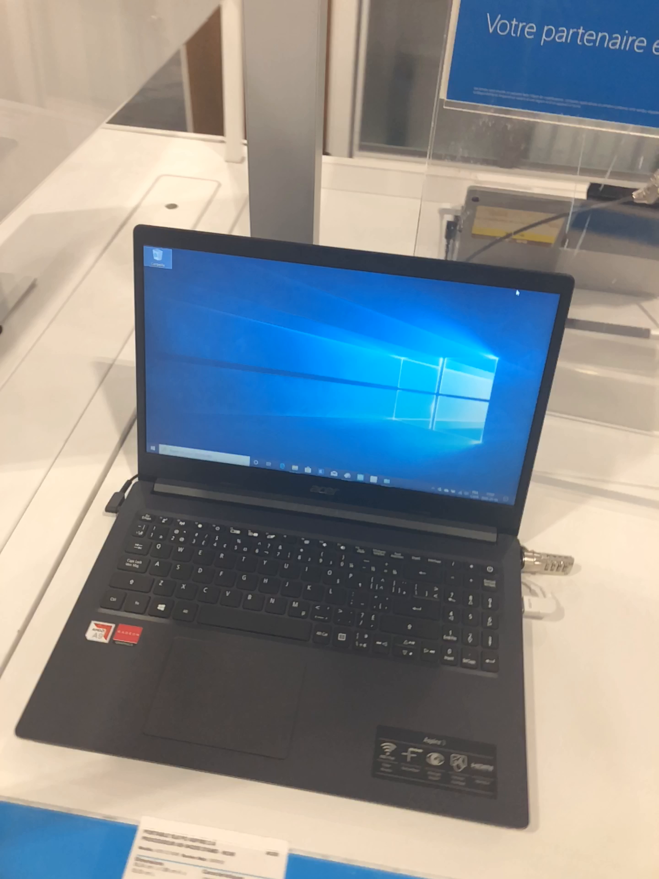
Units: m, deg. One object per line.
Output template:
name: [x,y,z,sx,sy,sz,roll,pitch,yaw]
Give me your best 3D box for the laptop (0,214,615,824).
laptop: [-0.017,0.035,0.567,0.367,0.212,0.351,8,46,5]
